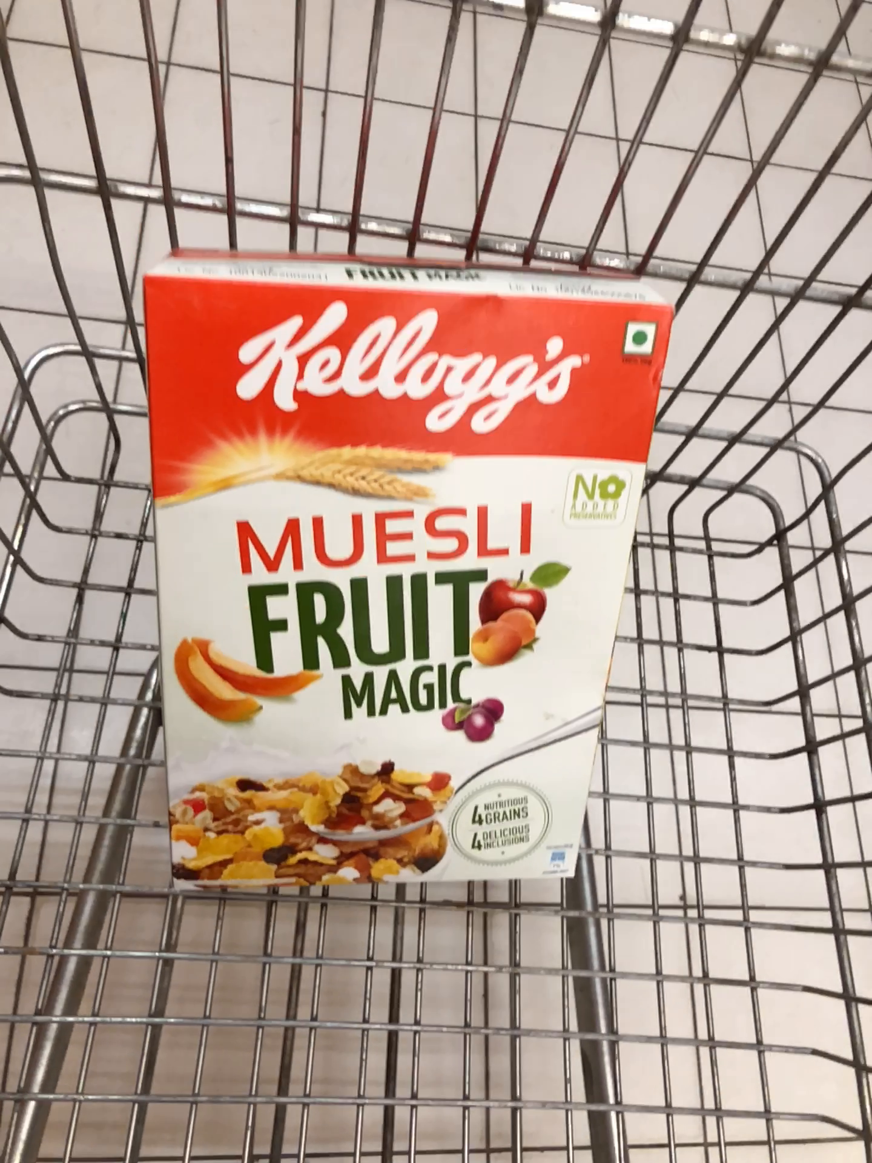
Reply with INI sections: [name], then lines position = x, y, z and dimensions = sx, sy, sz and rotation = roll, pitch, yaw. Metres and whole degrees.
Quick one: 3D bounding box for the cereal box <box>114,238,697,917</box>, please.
[cereal box]
position = -0.024, 0.006, 0.417
dimensions = 0.200, 0.269, 0.080
rotation = 1, 25, -12
